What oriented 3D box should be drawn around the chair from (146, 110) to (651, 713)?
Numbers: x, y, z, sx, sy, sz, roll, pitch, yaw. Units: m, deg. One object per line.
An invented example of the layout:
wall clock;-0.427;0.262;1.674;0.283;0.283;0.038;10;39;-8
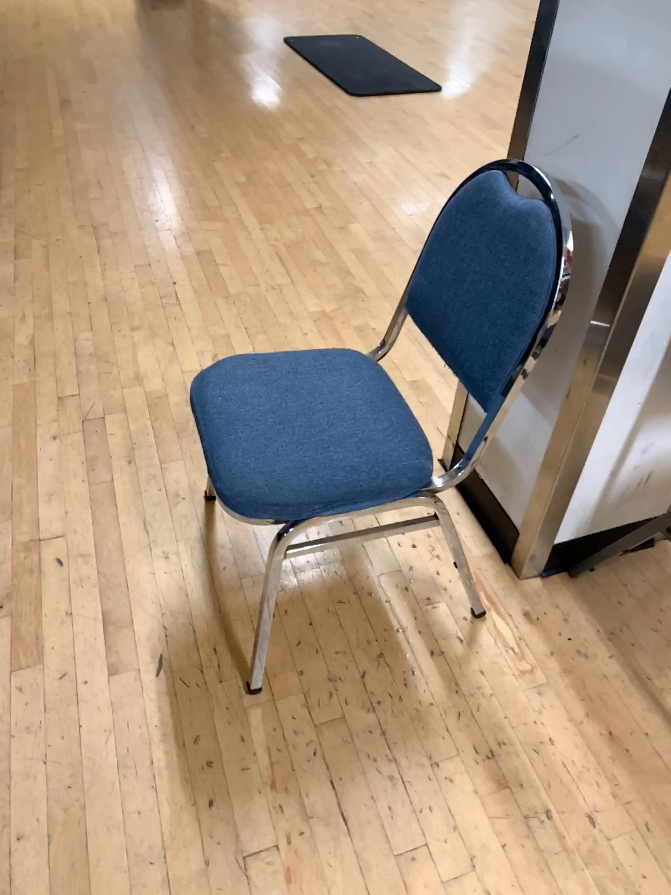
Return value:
chair;0.024;-0.050;1.258;0.553;0.888;0.550;-10;44;-14
